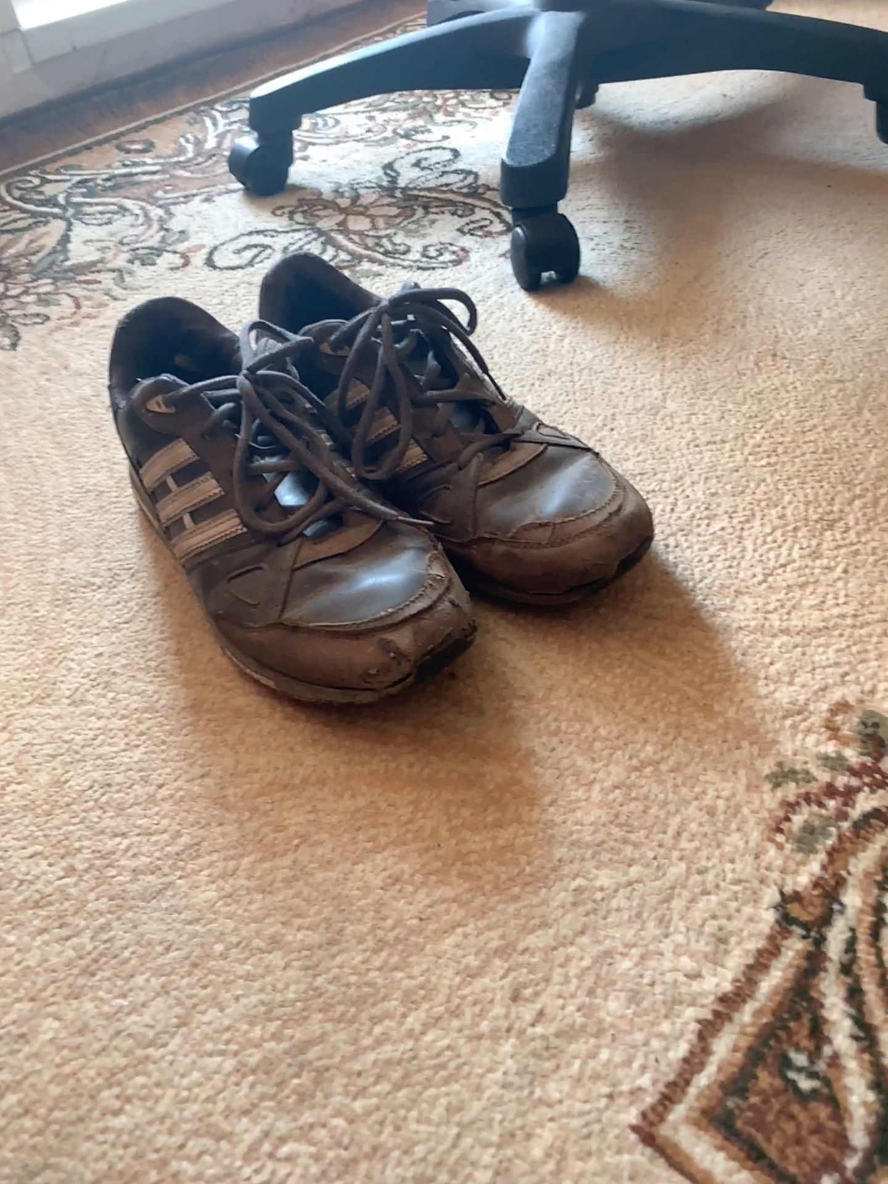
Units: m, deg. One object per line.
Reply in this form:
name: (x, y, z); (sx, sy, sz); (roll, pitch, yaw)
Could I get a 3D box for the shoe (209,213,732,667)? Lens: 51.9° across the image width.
shoe: (-0.003, -0.109, 0.519); (0.120, 0.099, 0.312); (-30, 47, -20)

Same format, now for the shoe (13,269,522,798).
shoe: (-0.105, -0.056, 0.476); (0.116, 0.099, 0.314); (-30, 47, -20)
